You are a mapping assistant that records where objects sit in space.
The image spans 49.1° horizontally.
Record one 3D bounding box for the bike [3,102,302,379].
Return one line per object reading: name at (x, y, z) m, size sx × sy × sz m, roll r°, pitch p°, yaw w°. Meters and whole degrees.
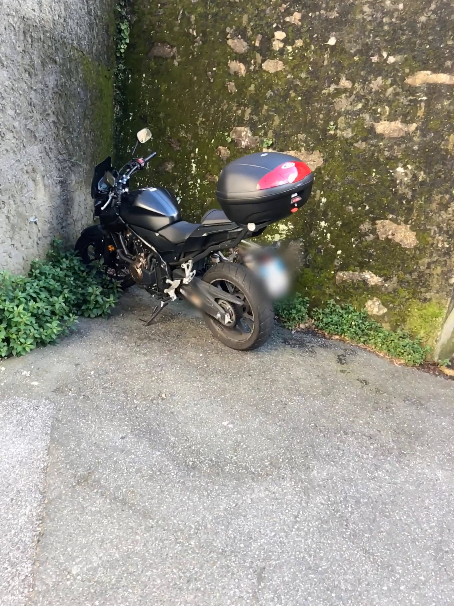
bike at (-0.554, -0.514, 3.346) m, size 1.787 × 1.199 × 0.712 m, roll 20°, pitch 21°, yaw 28°
